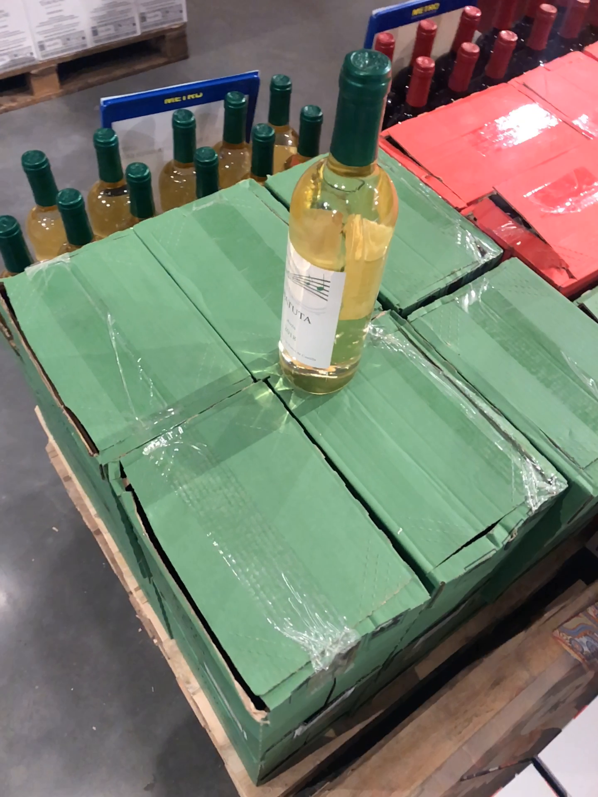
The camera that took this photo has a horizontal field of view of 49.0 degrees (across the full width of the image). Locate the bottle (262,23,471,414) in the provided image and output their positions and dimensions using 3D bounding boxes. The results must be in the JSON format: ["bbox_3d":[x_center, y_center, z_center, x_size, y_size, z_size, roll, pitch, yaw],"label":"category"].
[{"bbox_3d":[0.031,-0.108,0.475,0.084,0.262,0.080,2,56,-3],"label":"bottle"}]
